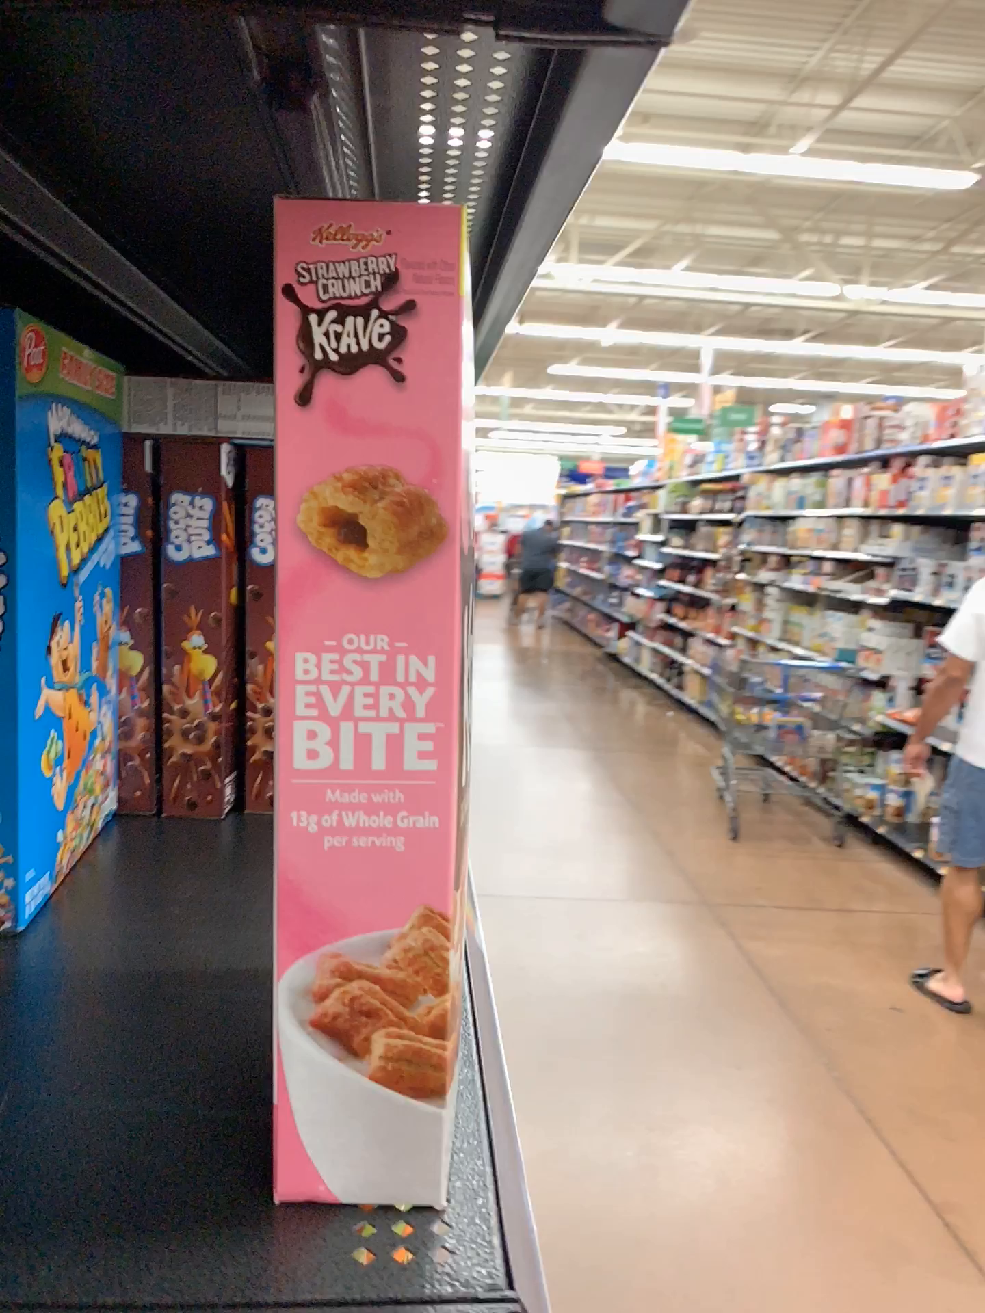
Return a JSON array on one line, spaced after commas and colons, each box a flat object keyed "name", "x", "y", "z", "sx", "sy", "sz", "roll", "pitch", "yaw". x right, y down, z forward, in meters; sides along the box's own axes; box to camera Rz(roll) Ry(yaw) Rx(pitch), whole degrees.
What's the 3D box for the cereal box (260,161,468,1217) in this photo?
[{"name": "cereal box", "x": -0.043, "y": 0.007, "z": 0.412, "sx": 0.060, "sy": 0.329, "sz": 0.200, "roll": 1, "pitch": 7, "yaw": -2}]
